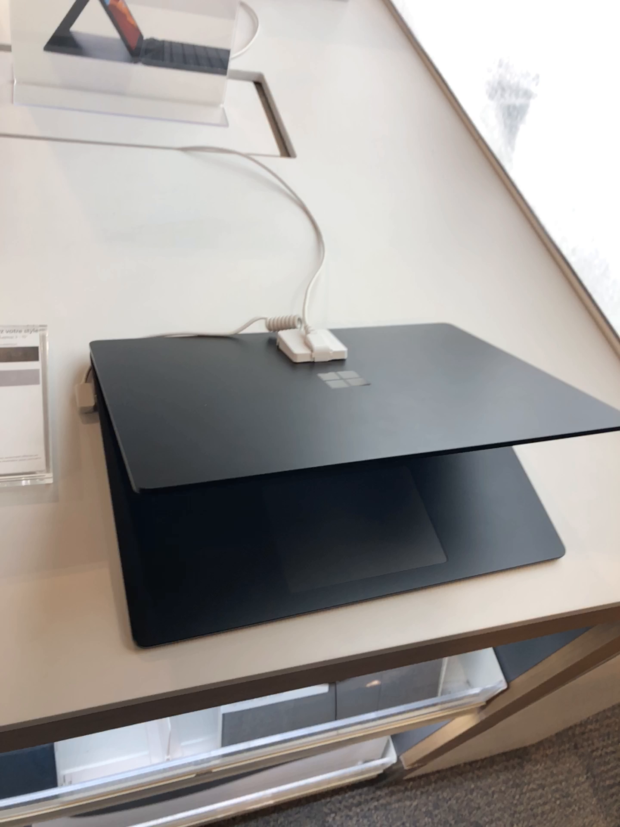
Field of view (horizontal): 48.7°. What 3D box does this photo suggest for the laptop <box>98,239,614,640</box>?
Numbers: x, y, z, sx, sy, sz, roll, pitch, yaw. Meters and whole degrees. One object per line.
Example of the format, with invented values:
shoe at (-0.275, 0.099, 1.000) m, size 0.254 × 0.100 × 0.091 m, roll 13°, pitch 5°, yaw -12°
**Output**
laptop at (0.023, -0.002, 0.436) m, size 0.284 × 0.086 × 0.191 m, roll -6°, pitch 62°, yaw -23°
